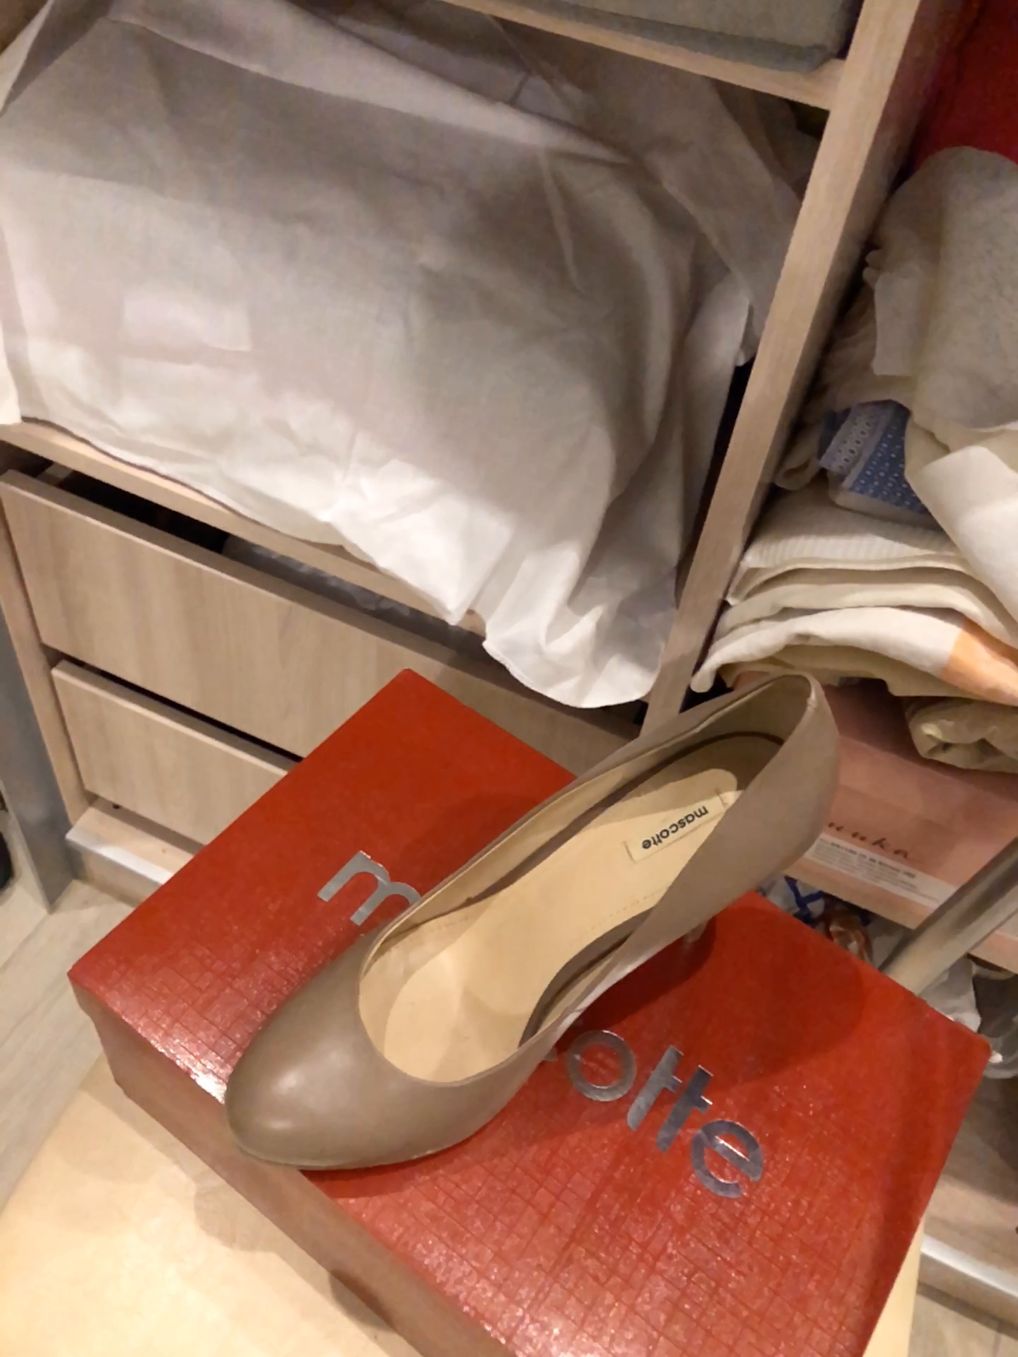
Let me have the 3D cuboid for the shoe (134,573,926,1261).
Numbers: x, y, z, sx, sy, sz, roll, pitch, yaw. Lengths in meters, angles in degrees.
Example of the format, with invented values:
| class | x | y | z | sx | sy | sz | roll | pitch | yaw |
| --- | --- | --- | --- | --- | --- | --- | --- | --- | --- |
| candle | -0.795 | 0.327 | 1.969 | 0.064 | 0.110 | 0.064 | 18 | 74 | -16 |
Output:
| class | x | y | z | sx | sy | sz | roll | pitch | yaw |
| --- | --- | --- | --- | --- | --- | --- | --- | --- | --- |
| shoe | 0.006 | 0.075 | 0.371 | 0.215 | 0.145 | 0.084 | -21 | 54 | -24 |
